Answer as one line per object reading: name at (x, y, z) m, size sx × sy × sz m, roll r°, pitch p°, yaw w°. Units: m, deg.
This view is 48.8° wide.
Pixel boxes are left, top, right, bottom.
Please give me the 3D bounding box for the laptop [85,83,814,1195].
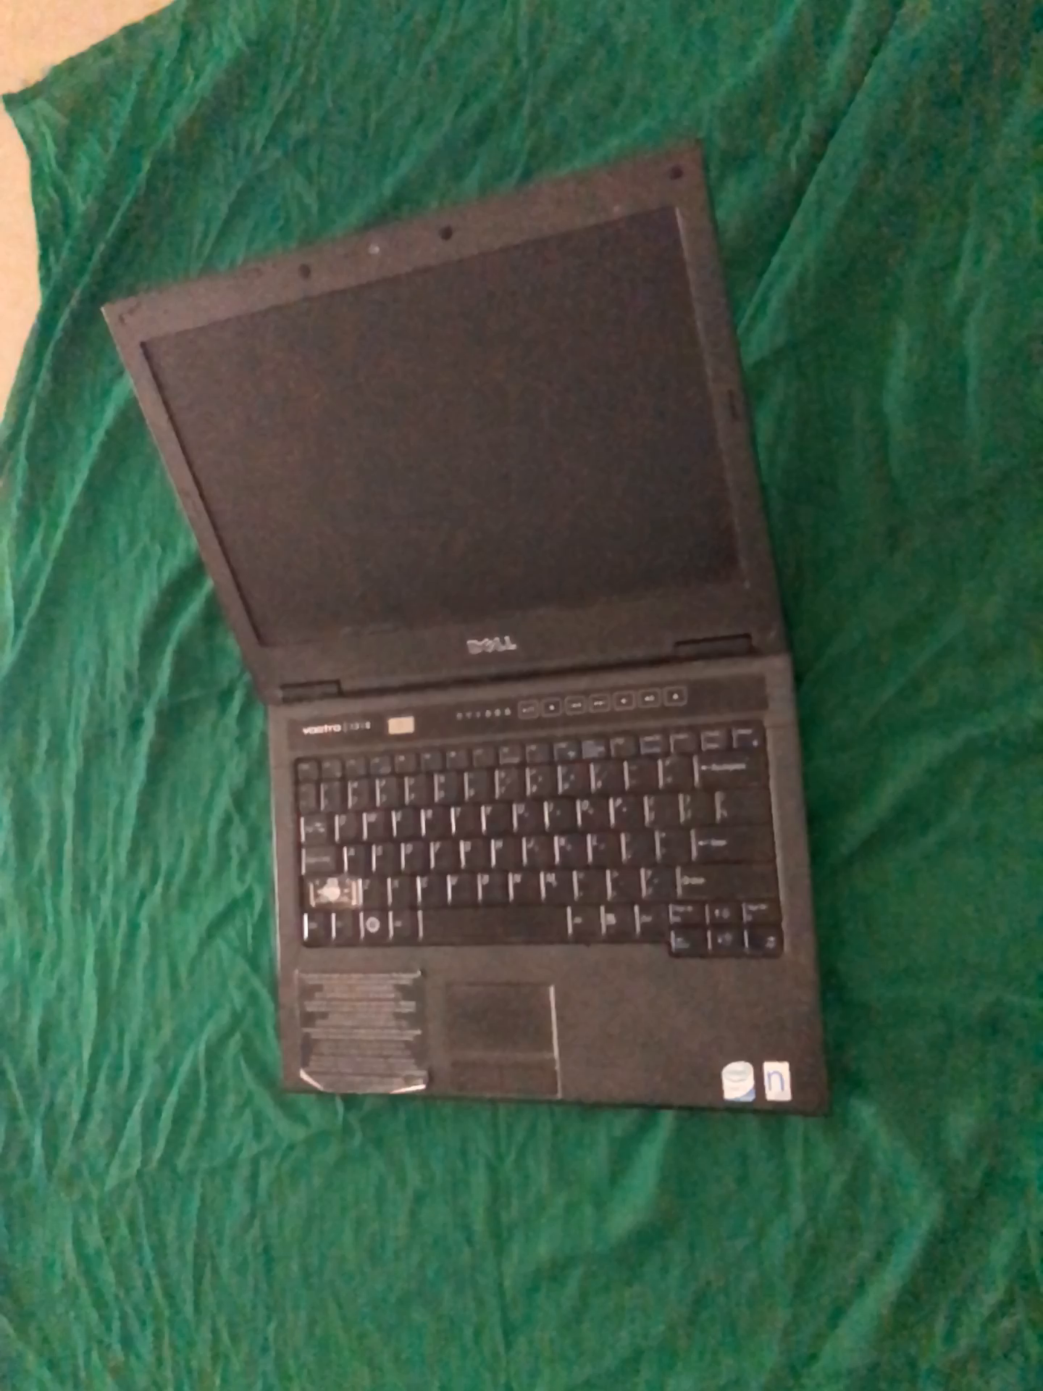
laptop at (-0.039, -0.003, 0.575) m, size 0.313 × 0.127 × 0.438 m, roll -5°, pitch 89°, yaw 24°
